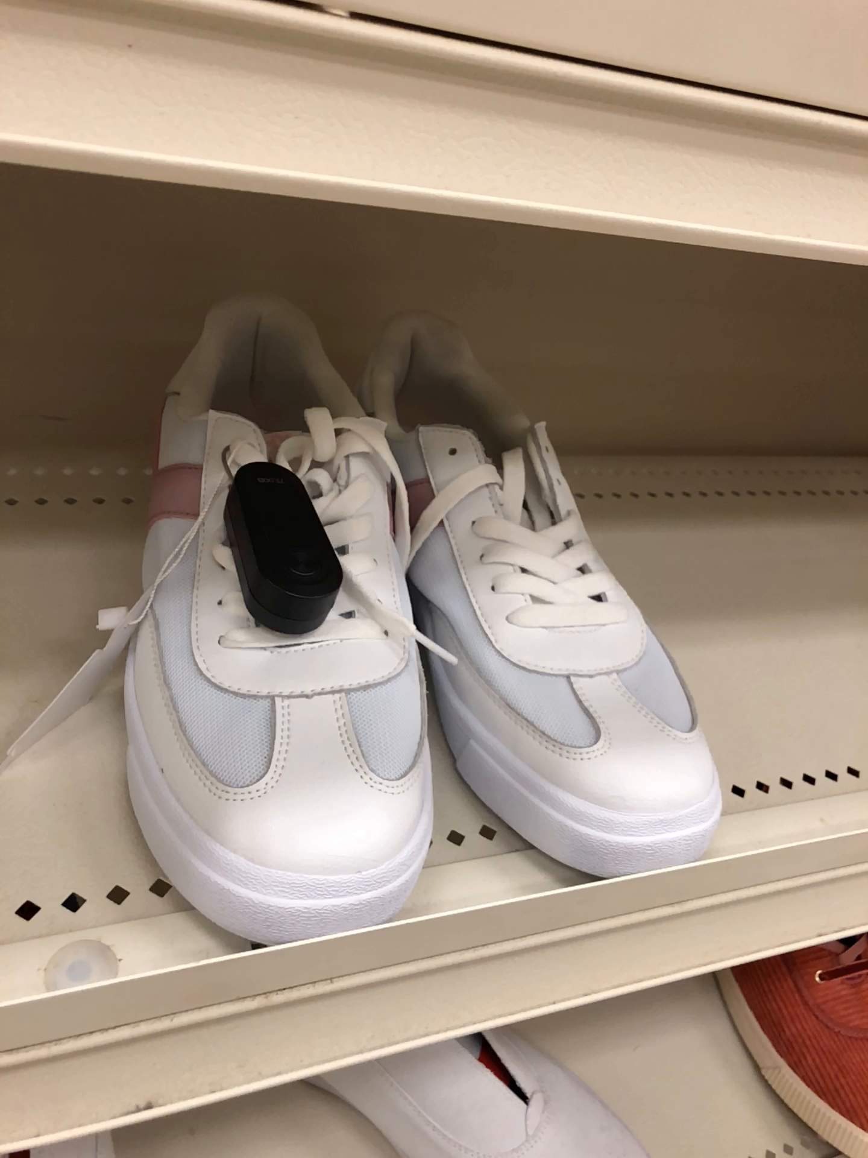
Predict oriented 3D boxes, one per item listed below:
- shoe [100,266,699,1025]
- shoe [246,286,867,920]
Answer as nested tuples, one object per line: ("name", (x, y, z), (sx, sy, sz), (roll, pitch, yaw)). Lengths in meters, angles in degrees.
("shoe", (-0.066, -0.033, 0.388), (0.120, 0.119, 0.392), (-1, 24, -20))
("shoe", (0.023, -0.039, 0.443), (0.120, 0.119, 0.392), (-3, 25, -25))
